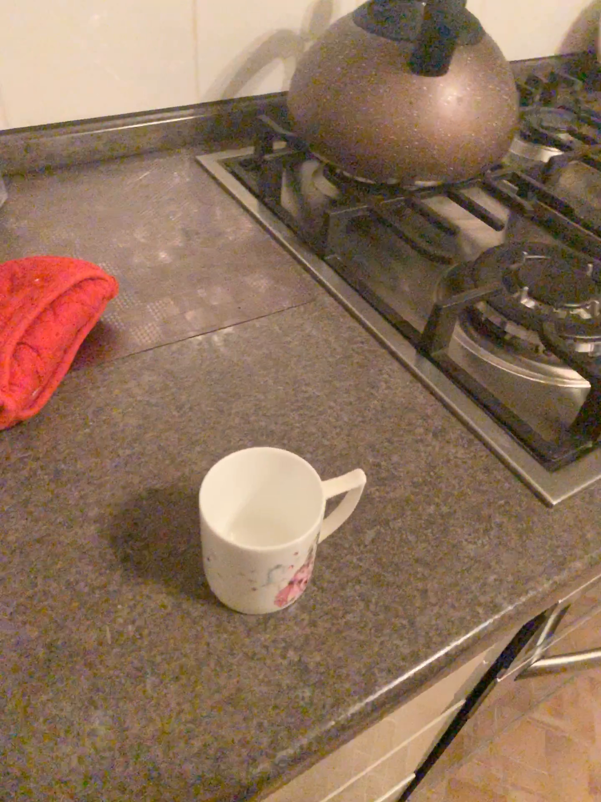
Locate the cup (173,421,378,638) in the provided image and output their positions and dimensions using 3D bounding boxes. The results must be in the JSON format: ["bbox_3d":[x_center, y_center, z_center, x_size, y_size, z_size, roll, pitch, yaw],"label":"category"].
[{"bbox_3d":[-0.015,0.062,0.305,0.080,0.069,0.060,-11,47,-16],"label":"cup"}]
